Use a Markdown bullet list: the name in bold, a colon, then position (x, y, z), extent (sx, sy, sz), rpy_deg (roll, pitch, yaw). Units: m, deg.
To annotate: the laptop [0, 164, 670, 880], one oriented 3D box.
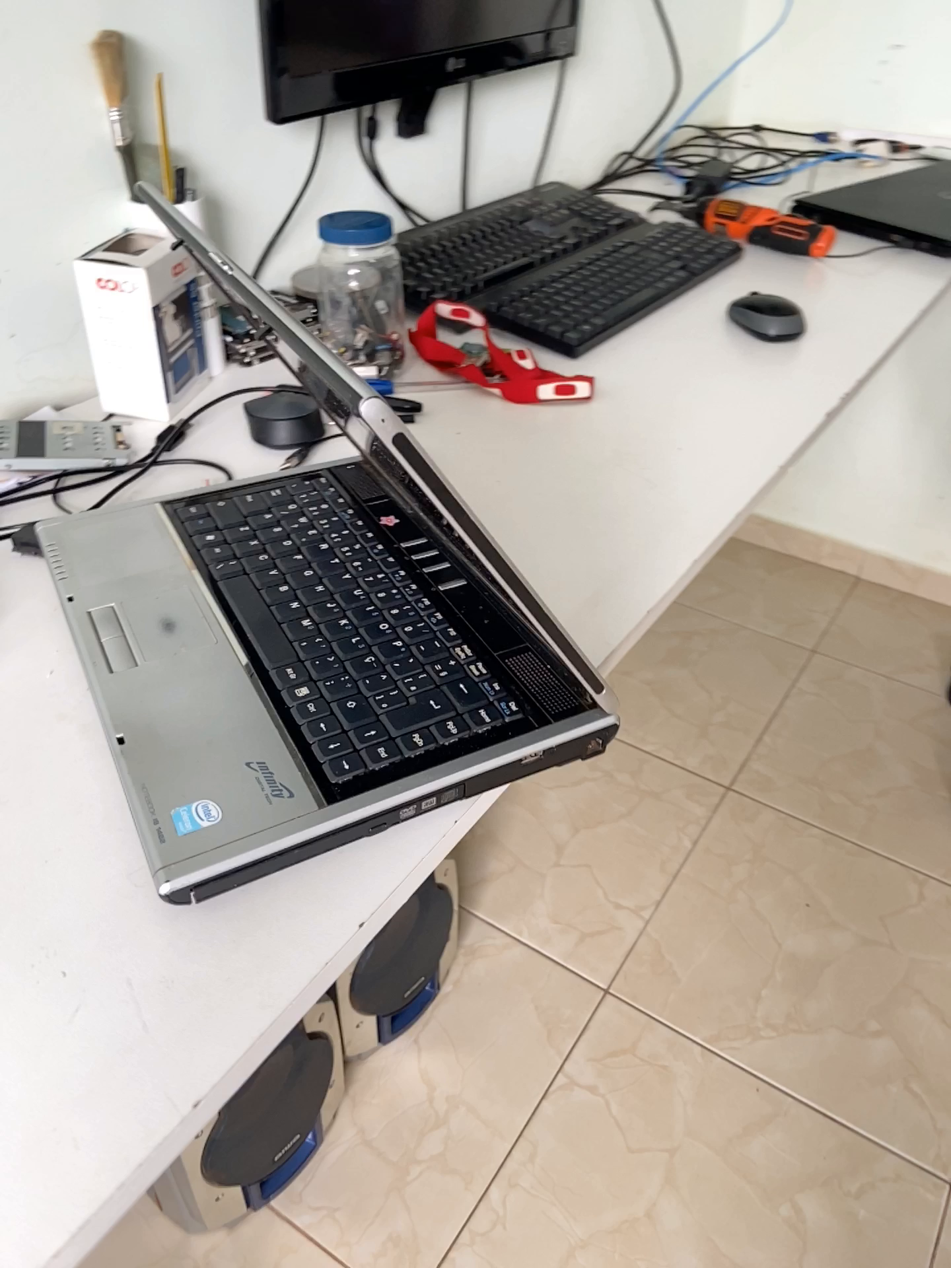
- **laptop**: position (-0.107, -0.098, 0.524), extent (0.236, 0.210, 0.339), rpy_deg (-17, 40, -24)
